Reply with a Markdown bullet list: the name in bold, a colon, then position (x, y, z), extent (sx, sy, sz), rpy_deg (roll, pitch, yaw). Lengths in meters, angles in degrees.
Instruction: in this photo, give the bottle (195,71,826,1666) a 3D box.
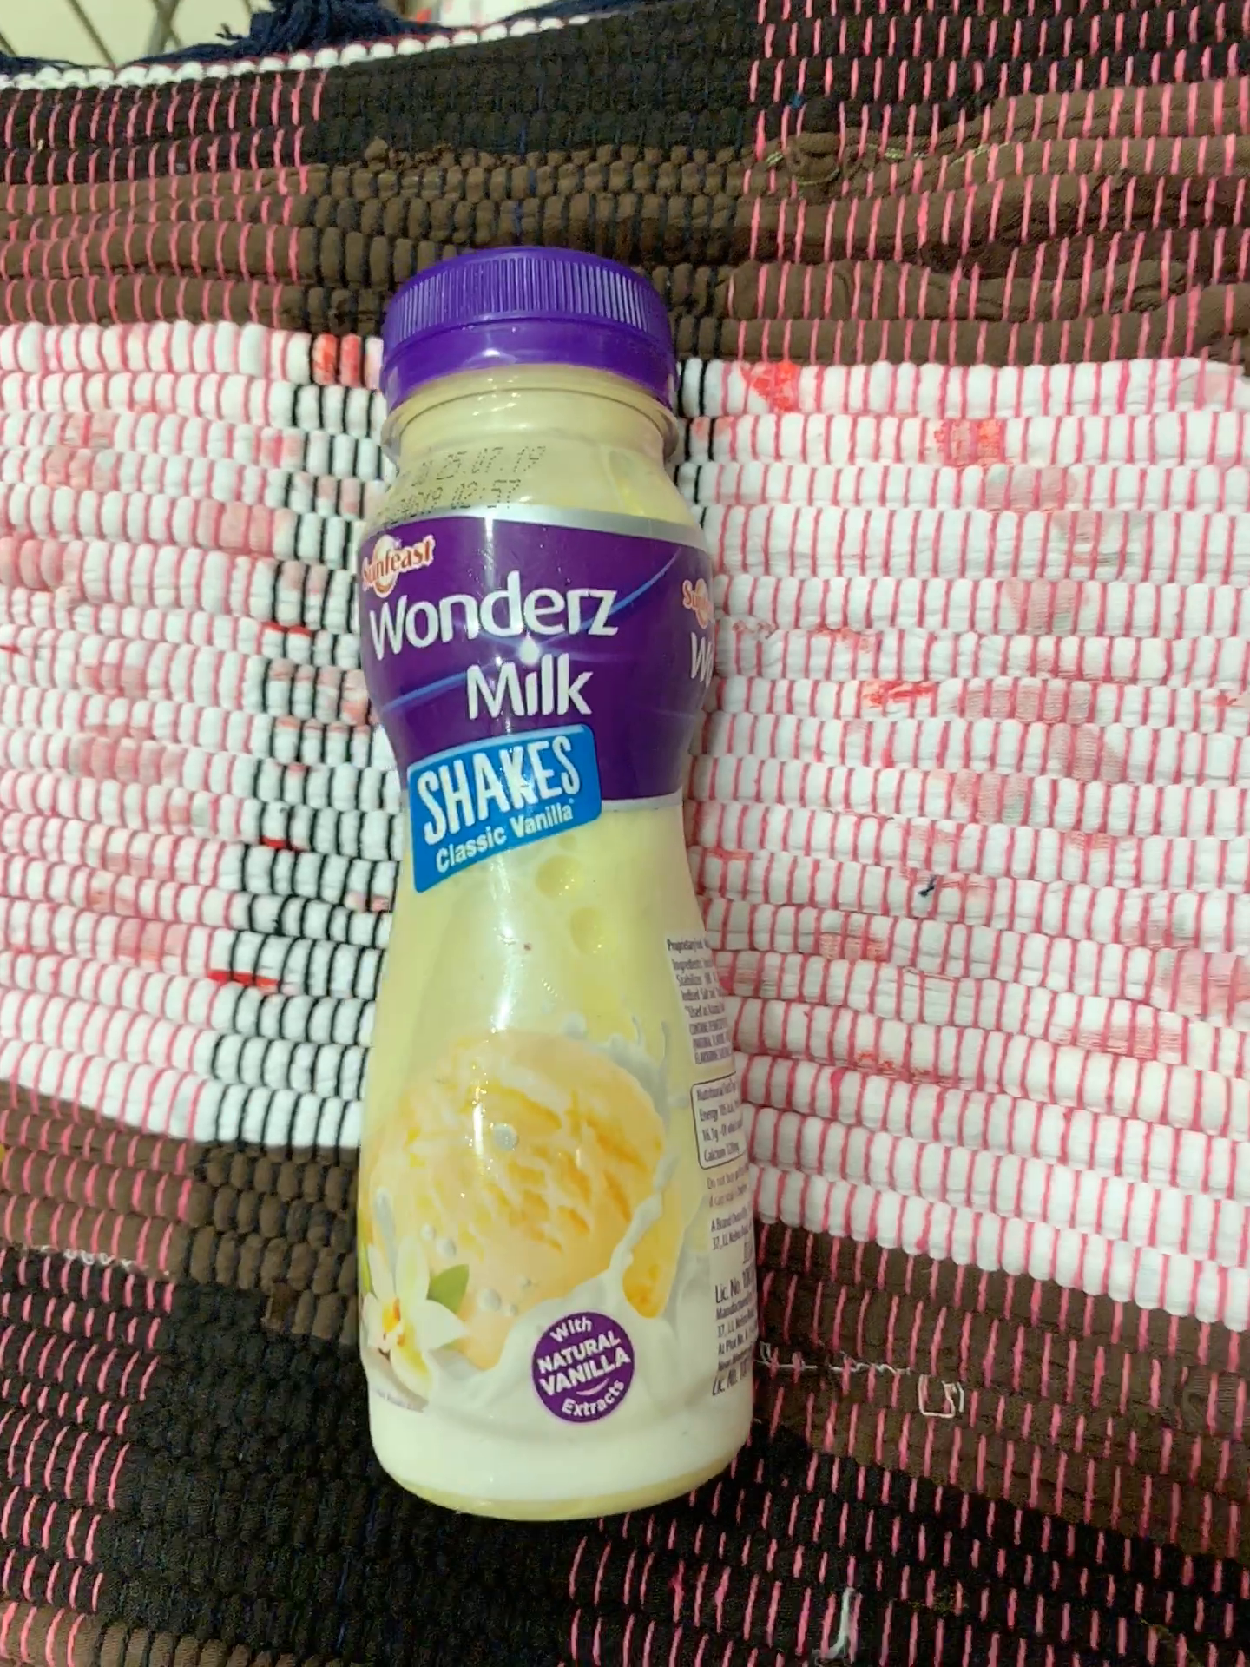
- **bottle**: position (-0.012, 0.003, 0.163), extent (0.060, 0.050, 0.160), rpy_deg (-3, 85, 16)
